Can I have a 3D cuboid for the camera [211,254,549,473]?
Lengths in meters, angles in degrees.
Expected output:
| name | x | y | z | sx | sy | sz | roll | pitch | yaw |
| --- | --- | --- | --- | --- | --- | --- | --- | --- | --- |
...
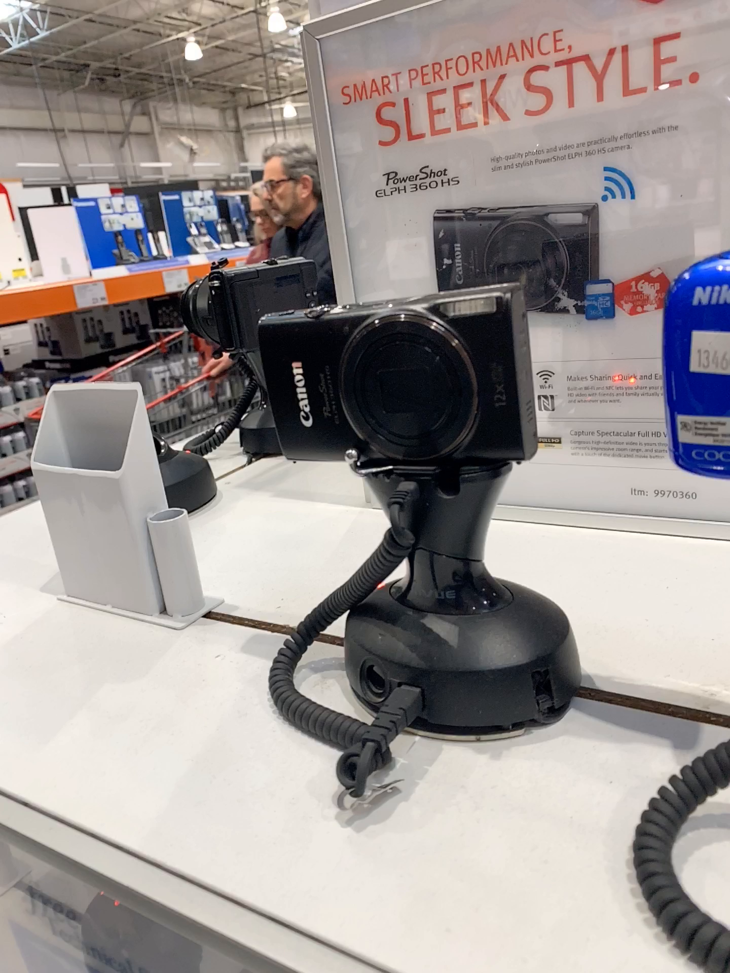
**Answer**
| name | x | y | z | sx | sy | sz | roll | pitch | yaw |
| --- | --- | --- | --- | --- | --- | --- | --- | --- | --- |
| camera | 0.005 | -0.040 | 0.254 | 0.100 | 0.060 | 0.040 | 2 | 20 | 28 |
